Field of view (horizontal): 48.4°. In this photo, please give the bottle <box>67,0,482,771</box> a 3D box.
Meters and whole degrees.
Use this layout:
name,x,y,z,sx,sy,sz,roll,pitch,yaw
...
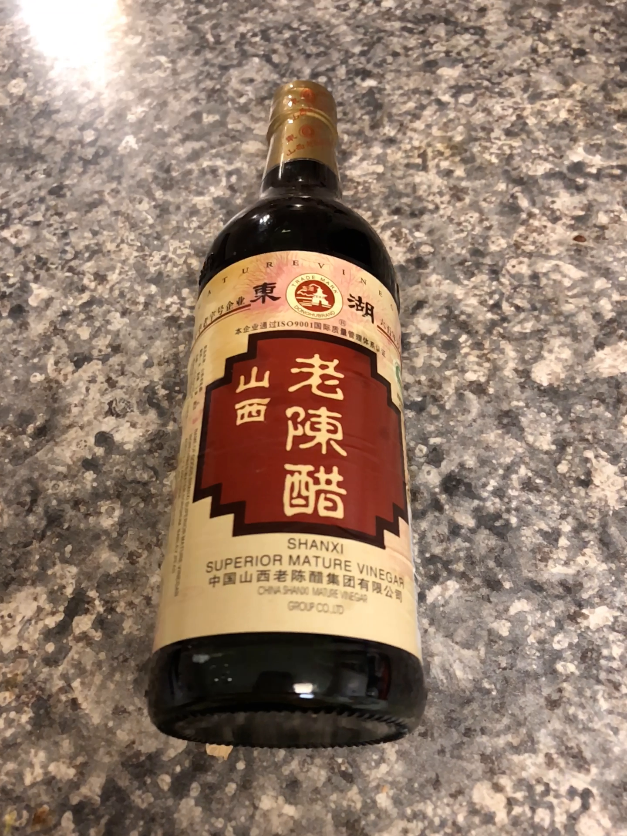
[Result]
name,x,y,z,sx,sy,sz,roll,pitch,yaw
bottle,-0.004,-0.032,0.211,0.070,0.070,0.241,1,58,1
